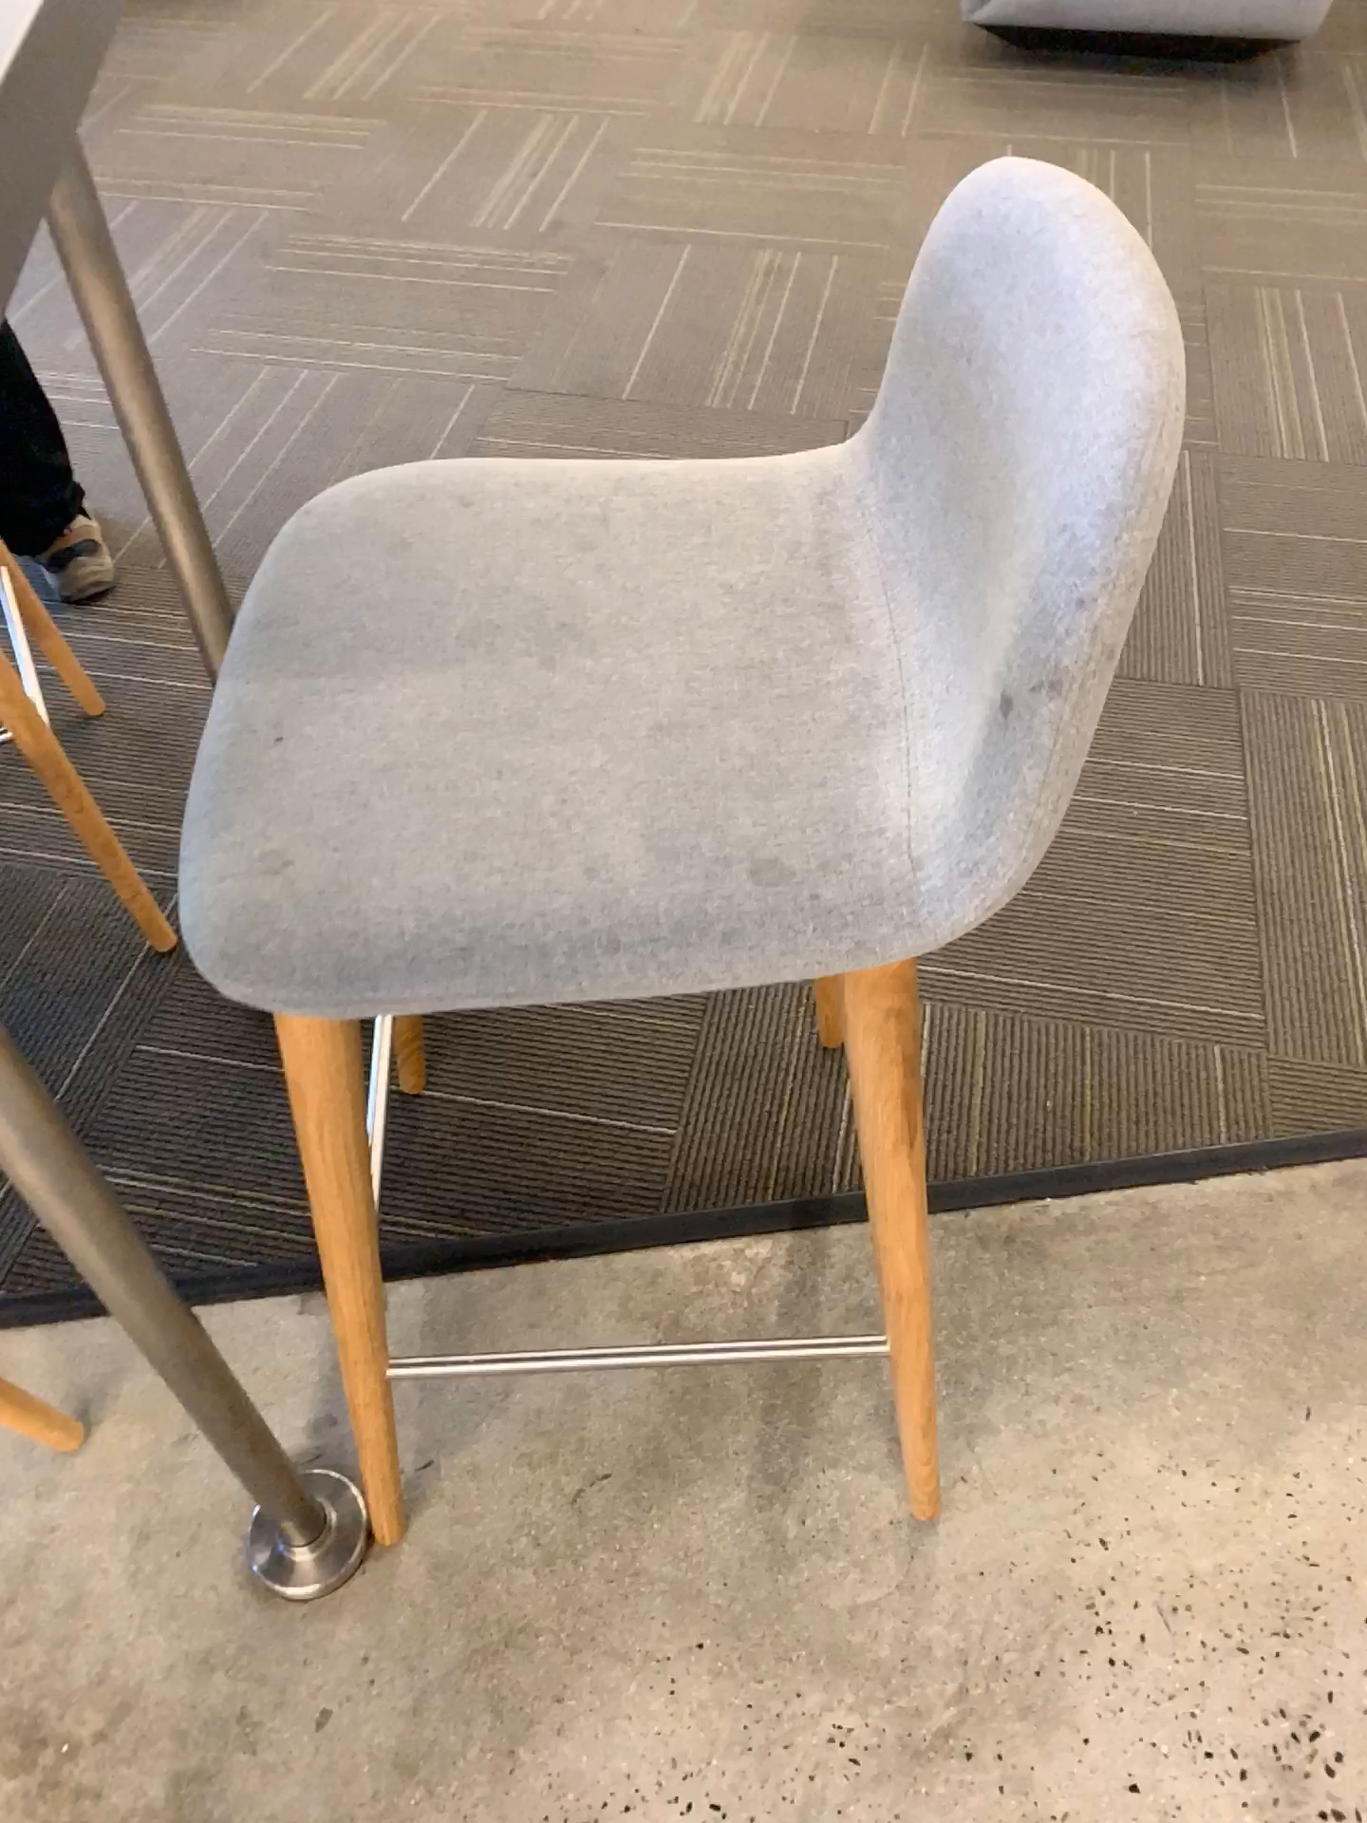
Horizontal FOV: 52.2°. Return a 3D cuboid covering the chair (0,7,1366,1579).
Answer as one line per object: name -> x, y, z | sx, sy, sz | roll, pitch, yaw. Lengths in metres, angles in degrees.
chair -> -0.031, 0.000, 0.986 | 0.550, 0.925, 0.593 | -4, 49, -2
